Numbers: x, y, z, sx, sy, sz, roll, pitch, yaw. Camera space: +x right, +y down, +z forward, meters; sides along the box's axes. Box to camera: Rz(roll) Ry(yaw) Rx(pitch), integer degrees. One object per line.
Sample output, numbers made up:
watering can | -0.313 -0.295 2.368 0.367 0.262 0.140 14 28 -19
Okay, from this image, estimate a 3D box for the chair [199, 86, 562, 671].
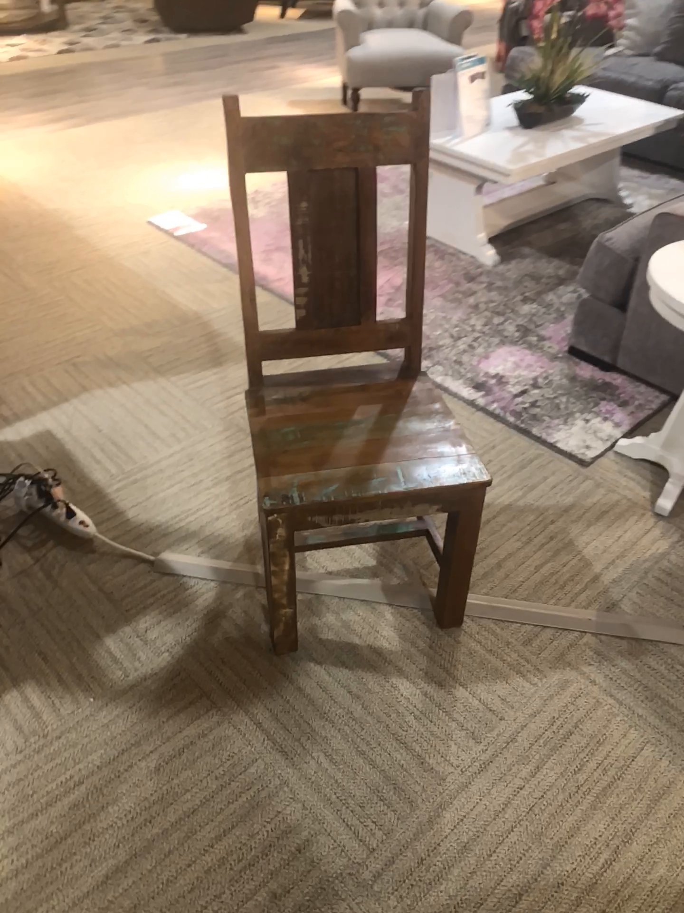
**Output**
chair | 0.020 -0.126 1.526 0.476 1.024 0.513 -7 39 -9
